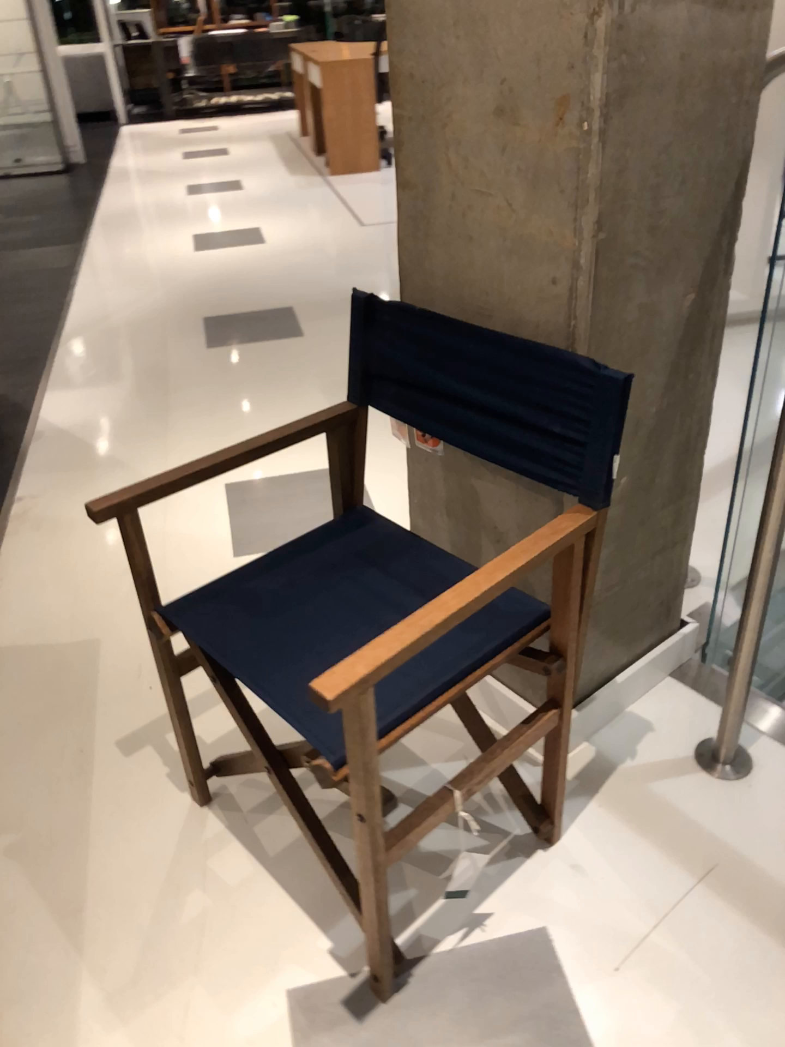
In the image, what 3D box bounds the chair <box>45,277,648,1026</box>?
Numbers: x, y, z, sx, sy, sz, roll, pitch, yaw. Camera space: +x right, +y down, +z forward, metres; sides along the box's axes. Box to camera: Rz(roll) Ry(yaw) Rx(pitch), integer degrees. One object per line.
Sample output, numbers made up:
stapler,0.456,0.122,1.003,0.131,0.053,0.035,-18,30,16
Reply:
chair,-0.055,0.136,1.276,0.502,0.774,0.583,-27,38,-32
